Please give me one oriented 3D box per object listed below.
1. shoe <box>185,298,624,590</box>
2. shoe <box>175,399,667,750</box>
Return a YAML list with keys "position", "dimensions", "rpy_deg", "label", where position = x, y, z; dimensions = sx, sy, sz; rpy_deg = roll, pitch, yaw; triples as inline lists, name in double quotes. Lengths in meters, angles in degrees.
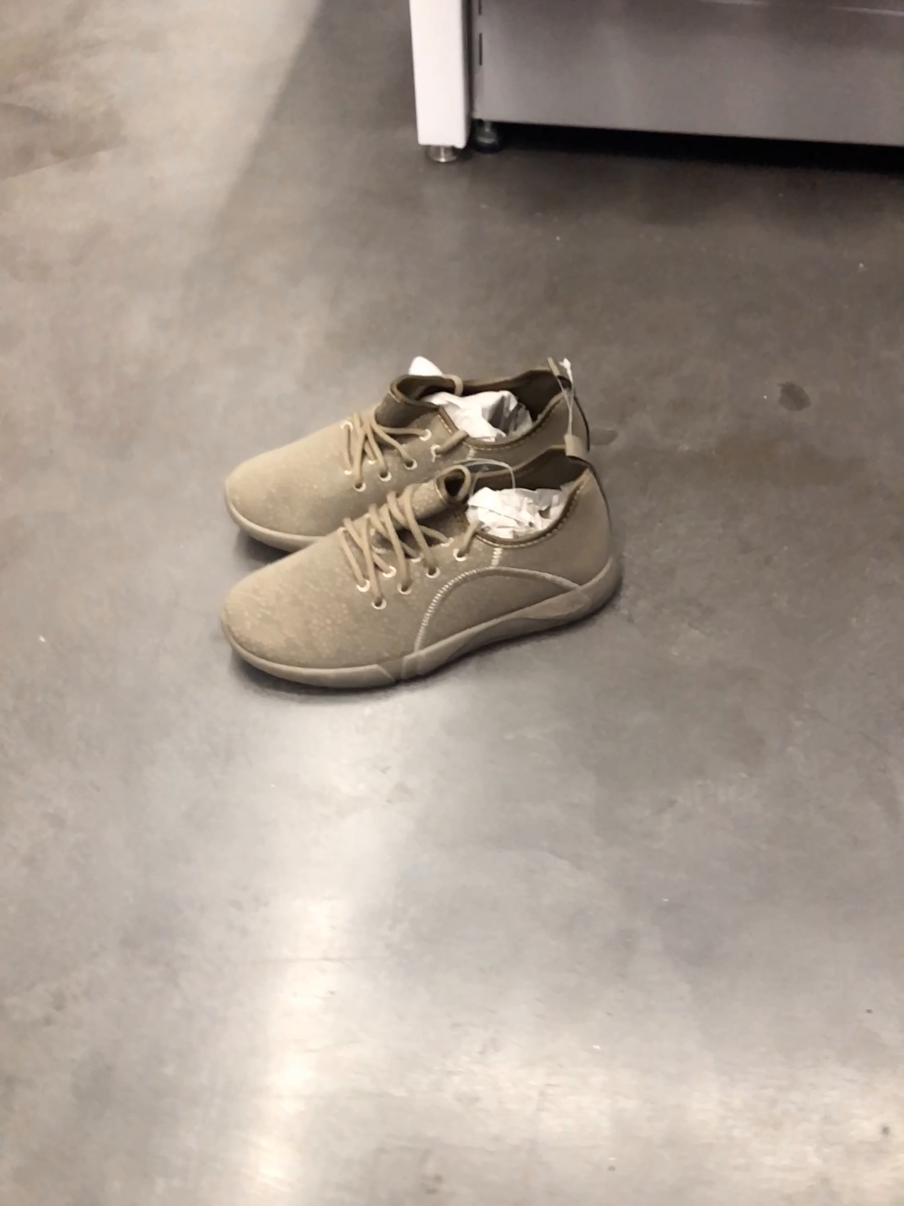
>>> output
- position: [-0.029, -0.097, 0.616]
  dimensions: [0.240, 0.110, 0.090]
  rpy_deg: [-10, 55, -6]
  label: "shoe"
- position: [-0.017, -0.016, 0.566]
  dimensions: [0.240, 0.110, 0.100]
  rpy_deg: [-14, 56, -8]
  label: "shoe"
